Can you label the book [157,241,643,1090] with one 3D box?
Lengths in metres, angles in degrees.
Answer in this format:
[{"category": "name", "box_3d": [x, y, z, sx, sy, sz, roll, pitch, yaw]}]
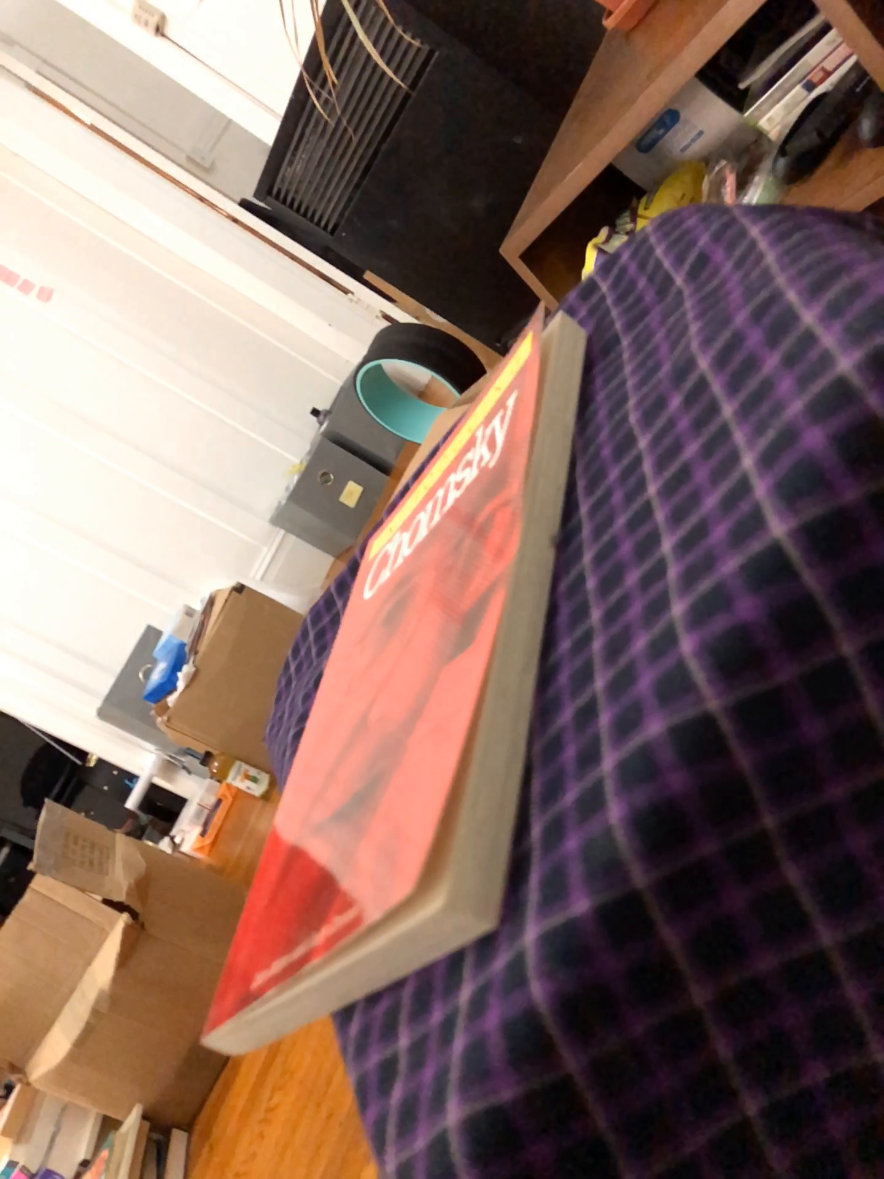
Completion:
[{"category": "book", "box_3d": [-0.008, 0.017, 0.314, 0.180, 0.020, 0.241, -45, 21, 44]}]
